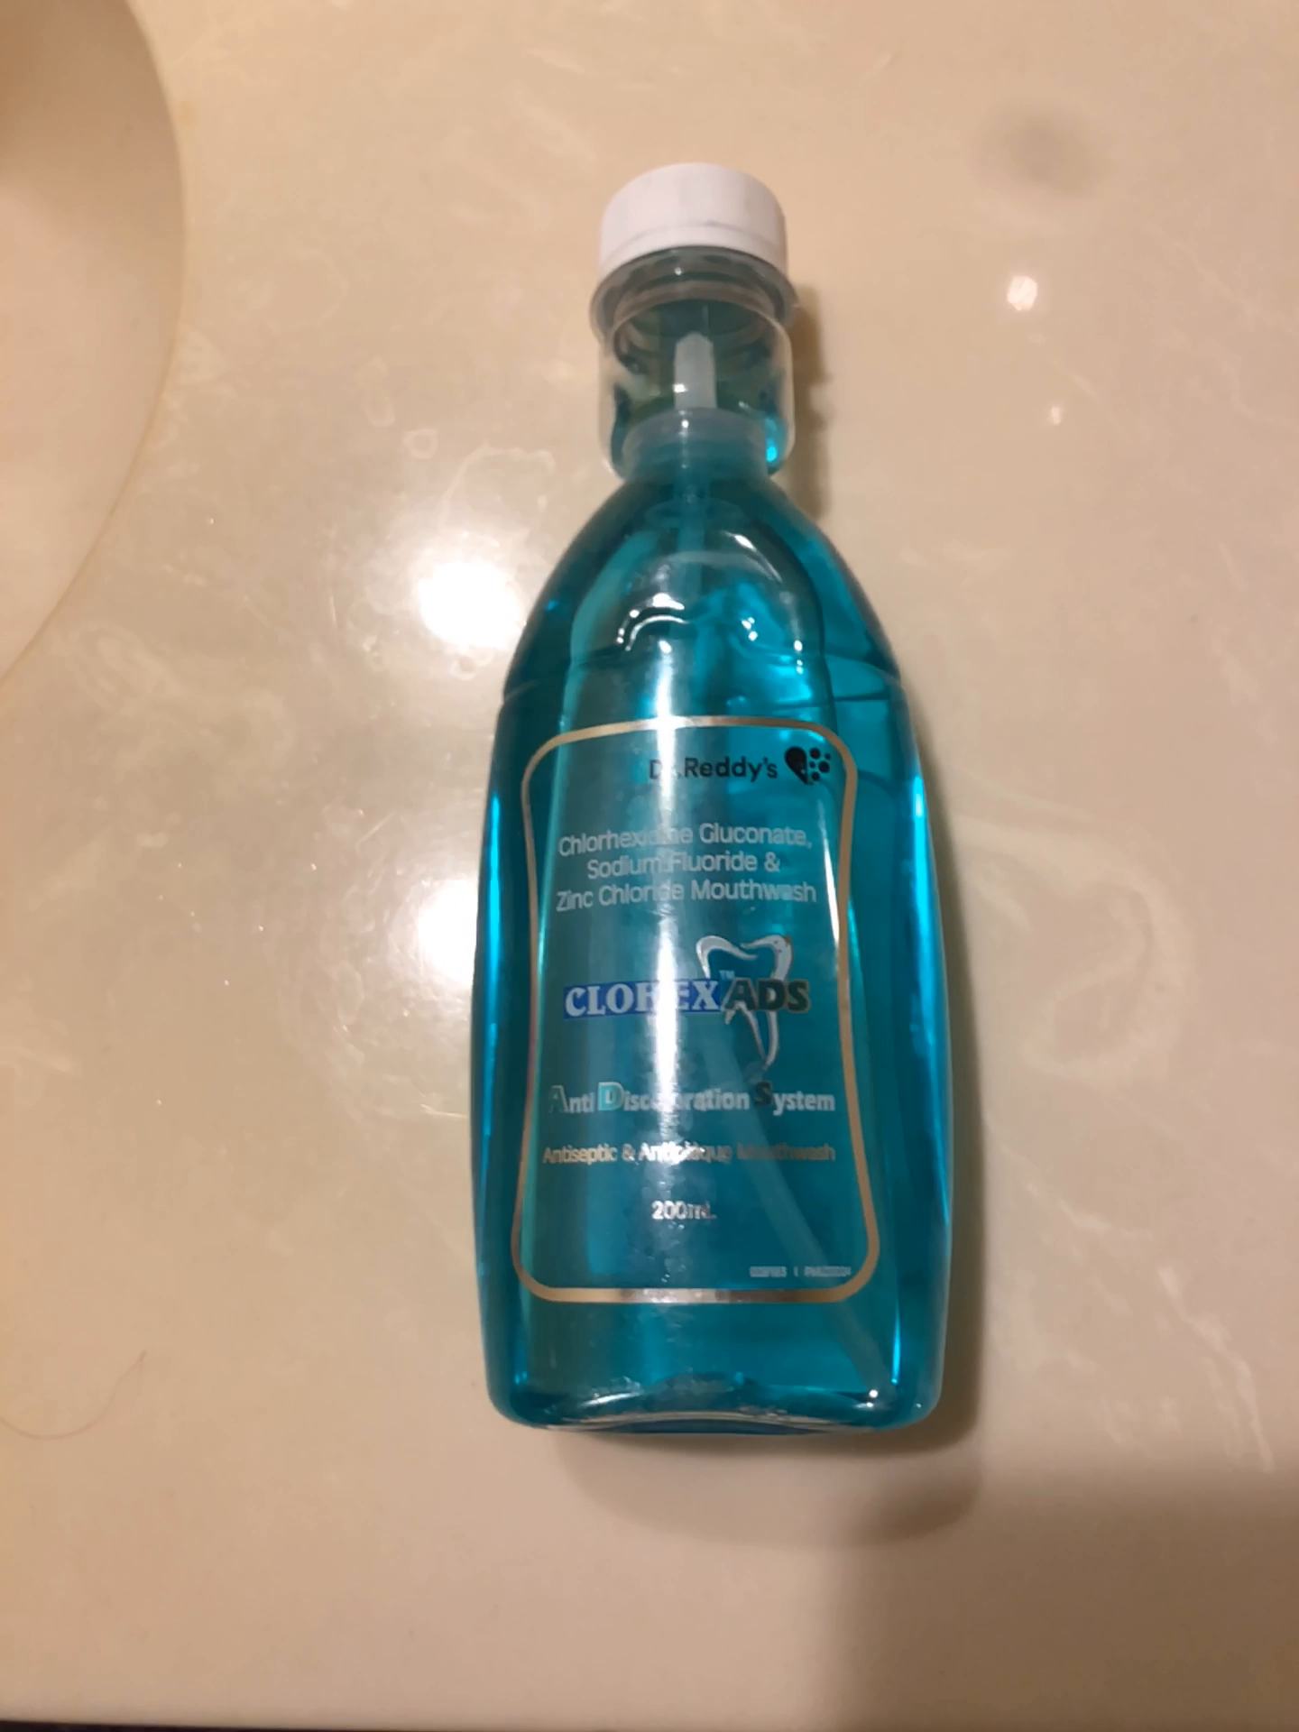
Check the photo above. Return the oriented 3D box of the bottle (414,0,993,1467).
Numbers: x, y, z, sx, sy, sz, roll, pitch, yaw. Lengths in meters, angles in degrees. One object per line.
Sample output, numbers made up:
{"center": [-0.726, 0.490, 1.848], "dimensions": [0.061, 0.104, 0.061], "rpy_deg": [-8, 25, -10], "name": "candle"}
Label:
{"center": [0.007, -0.025, 0.220], "dimensions": [0.070, 0.040, 0.210], "rpy_deg": [-2, 76, 6], "name": "bottle"}
